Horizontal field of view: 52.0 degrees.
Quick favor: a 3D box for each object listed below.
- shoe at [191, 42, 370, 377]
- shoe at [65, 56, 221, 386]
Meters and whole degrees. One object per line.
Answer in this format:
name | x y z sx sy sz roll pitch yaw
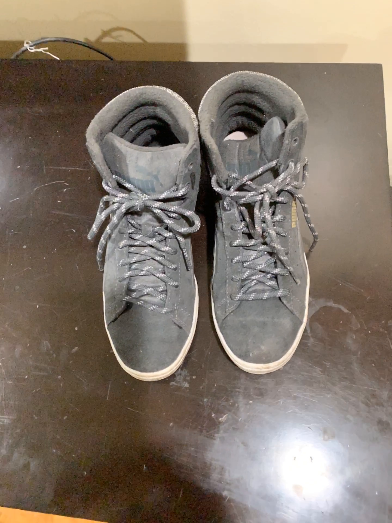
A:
shoe | 0.055 -0.037 0.348 0.097 0.125 0.253 -4 70 3
shoe | -0.039 -0.032 0.353 0.100 0.107 0.261 -5 70 3
